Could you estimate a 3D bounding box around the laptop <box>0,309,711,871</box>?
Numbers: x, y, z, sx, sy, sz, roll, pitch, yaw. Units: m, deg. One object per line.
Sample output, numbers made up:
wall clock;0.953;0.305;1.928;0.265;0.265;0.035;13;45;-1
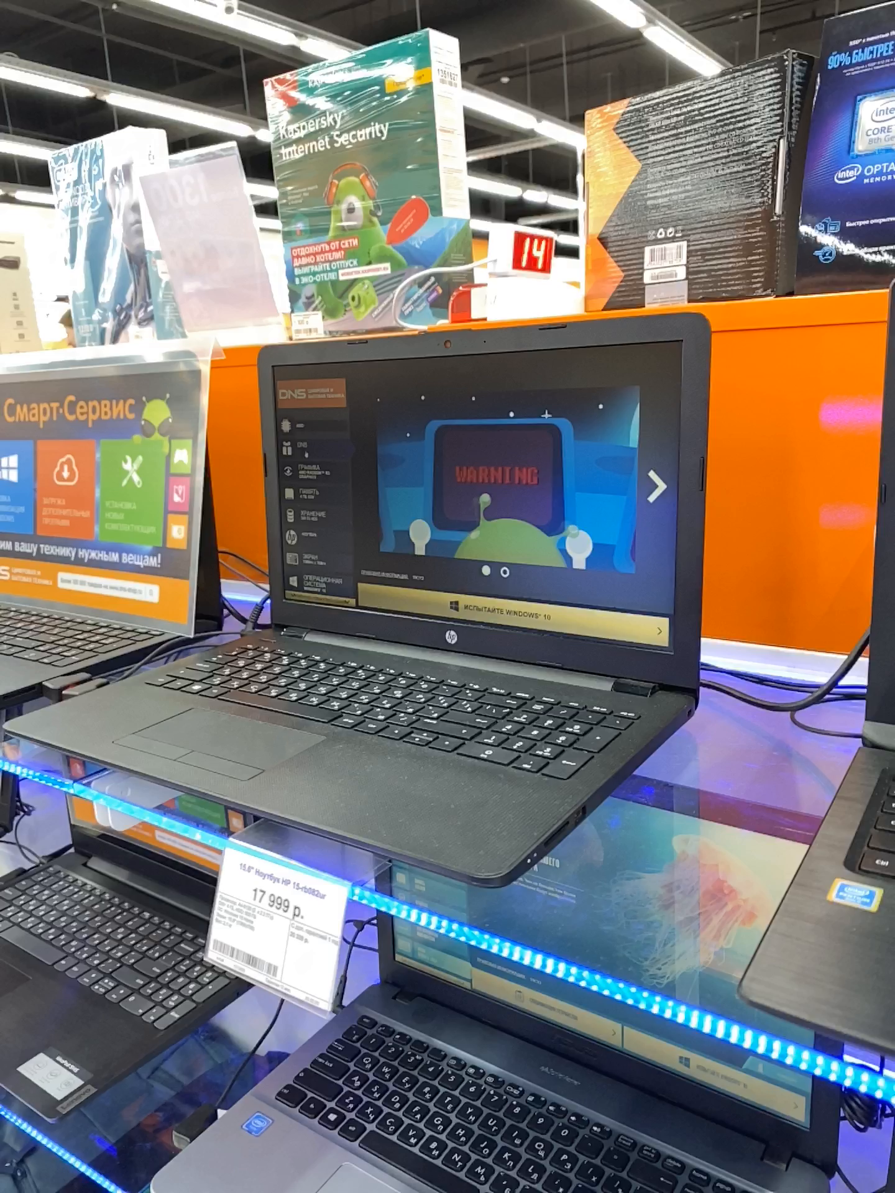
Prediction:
laptop;-0.064;-0.043;0.576;0.370;0.231;0.271;6;16;33
